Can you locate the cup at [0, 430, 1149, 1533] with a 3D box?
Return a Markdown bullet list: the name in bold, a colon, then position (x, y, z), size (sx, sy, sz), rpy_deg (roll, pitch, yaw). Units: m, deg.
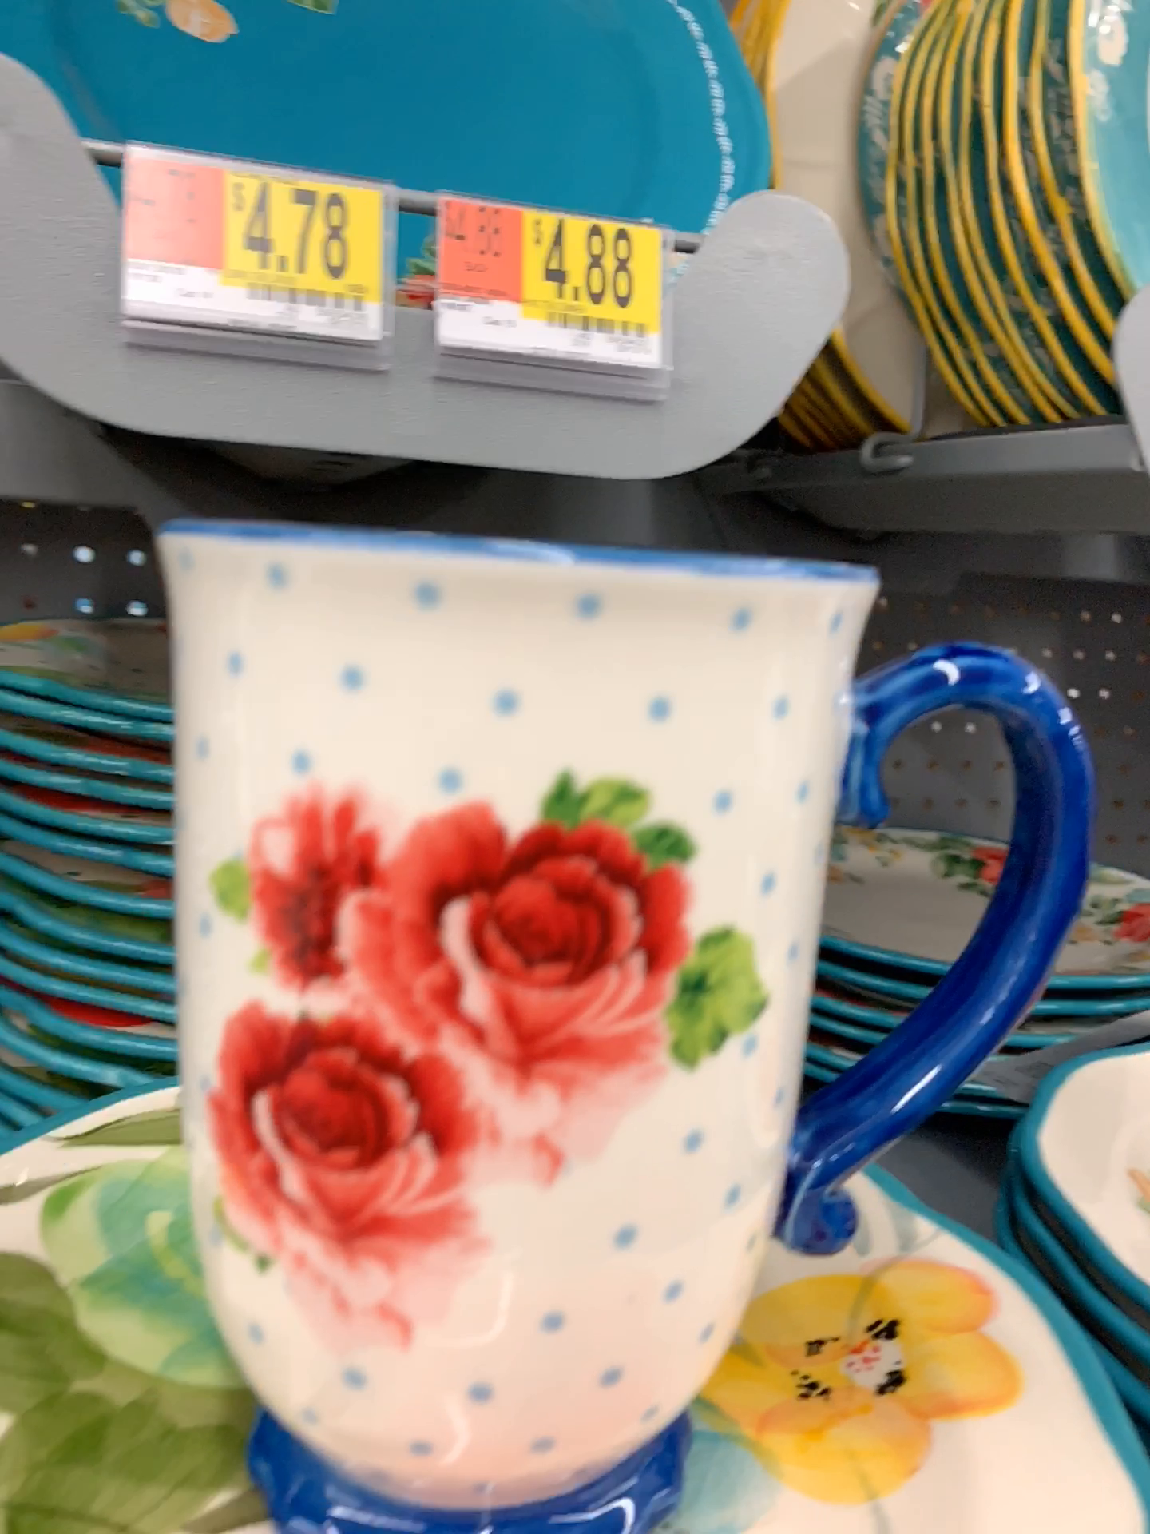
- **cup**: position (-0.006, 0.028, 0.171), size (0.130, 0.130, 0.090), rpy_deg (3, 11, -5)
